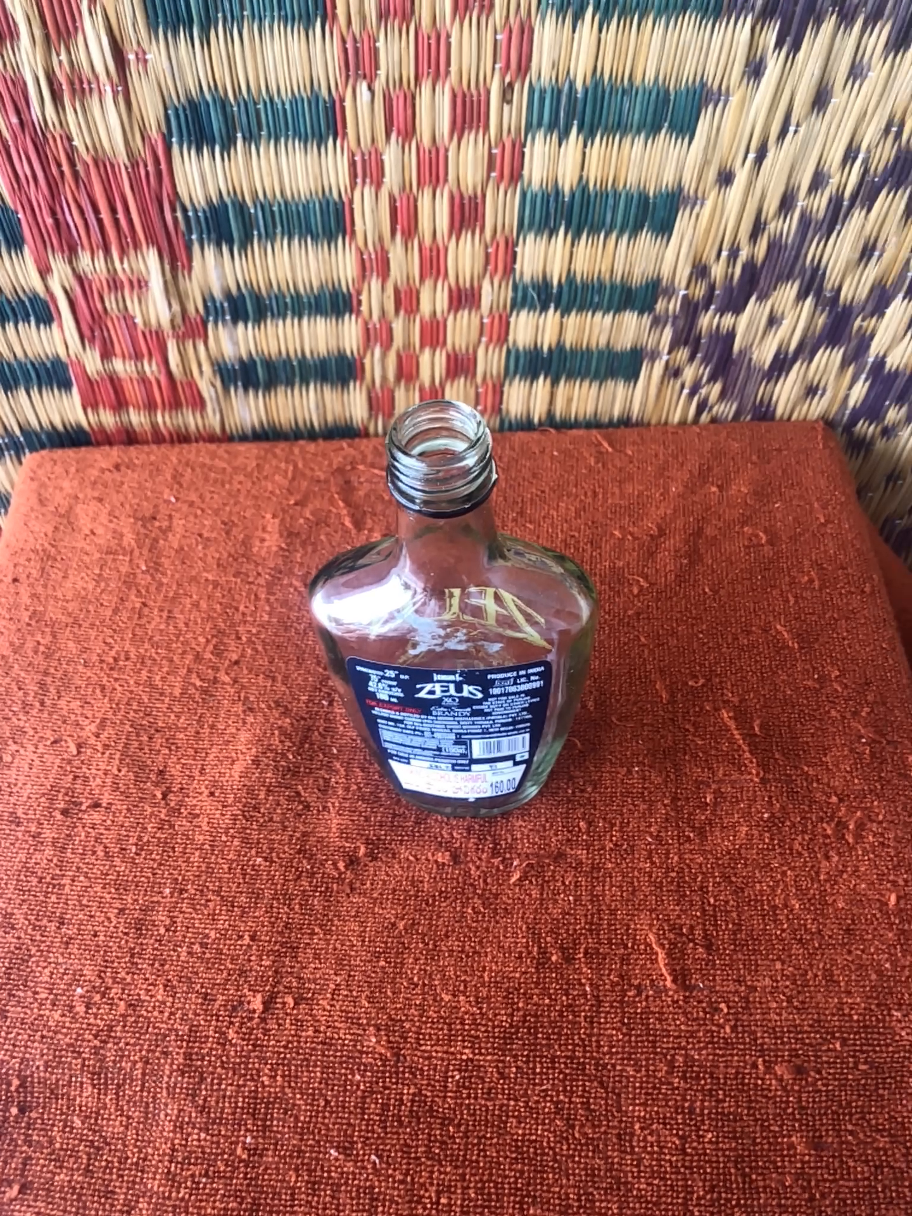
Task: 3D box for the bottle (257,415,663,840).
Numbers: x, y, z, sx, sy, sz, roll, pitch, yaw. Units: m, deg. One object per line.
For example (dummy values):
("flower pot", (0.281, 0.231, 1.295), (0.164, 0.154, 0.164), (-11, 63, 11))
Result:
("bottle", (0.003, 0.016, 0.273), (0.080, 0.150, 0.040), (0, 56, 2))
